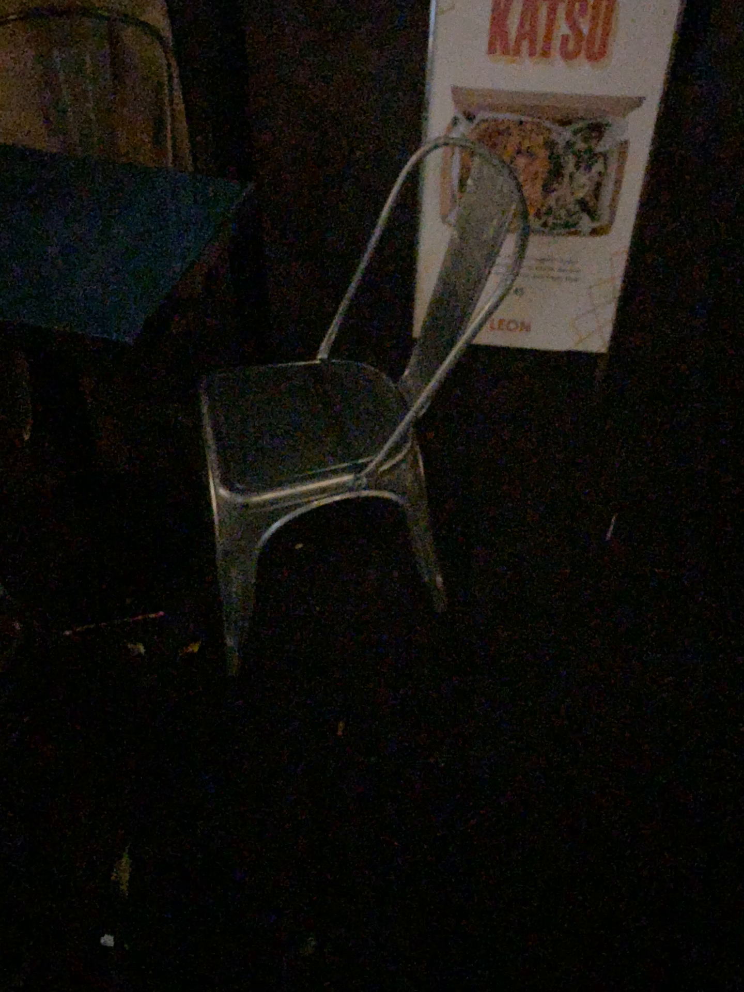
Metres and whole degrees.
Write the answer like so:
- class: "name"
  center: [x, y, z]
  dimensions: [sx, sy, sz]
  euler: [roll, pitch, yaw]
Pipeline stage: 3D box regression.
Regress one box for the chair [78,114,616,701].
- class: "chair"
  center: [-0.073, -0.148, 1.286]
  dimensions: [0.601, 0.723, 0.504]
  euler: [-14, 46, -15]
